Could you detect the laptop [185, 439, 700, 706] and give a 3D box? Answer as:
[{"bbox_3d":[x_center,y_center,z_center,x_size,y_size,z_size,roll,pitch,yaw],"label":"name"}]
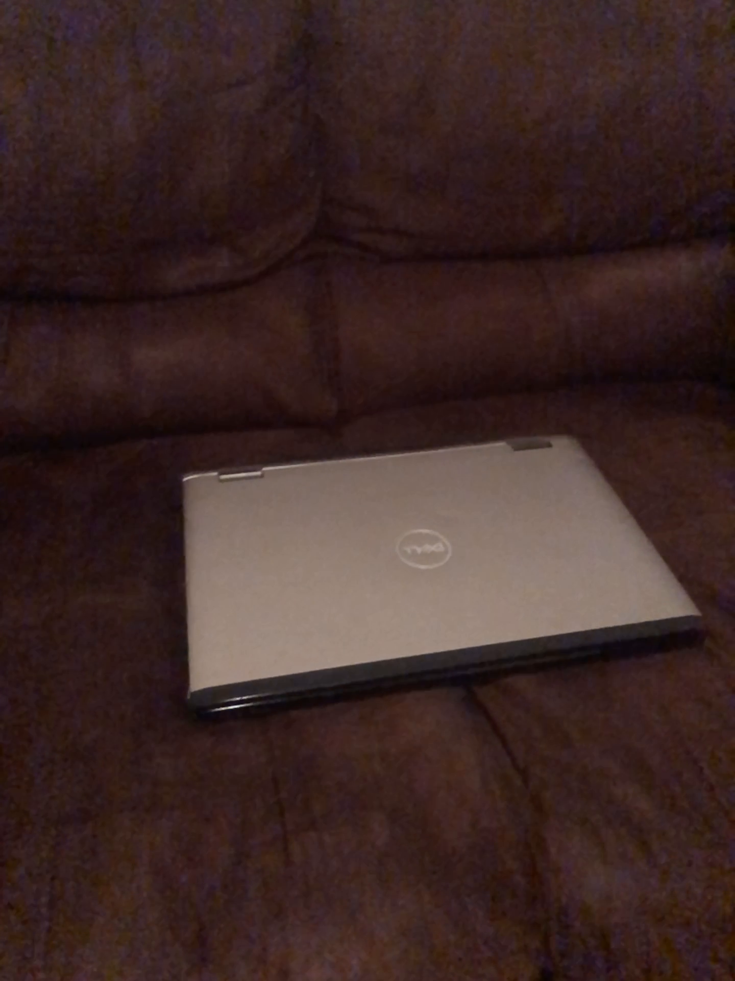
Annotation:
[{"bbox_3d":[0.042,0.045,0.676,0.369,0.002,0.261,-6,38,-12],"label":"laptop"}]
